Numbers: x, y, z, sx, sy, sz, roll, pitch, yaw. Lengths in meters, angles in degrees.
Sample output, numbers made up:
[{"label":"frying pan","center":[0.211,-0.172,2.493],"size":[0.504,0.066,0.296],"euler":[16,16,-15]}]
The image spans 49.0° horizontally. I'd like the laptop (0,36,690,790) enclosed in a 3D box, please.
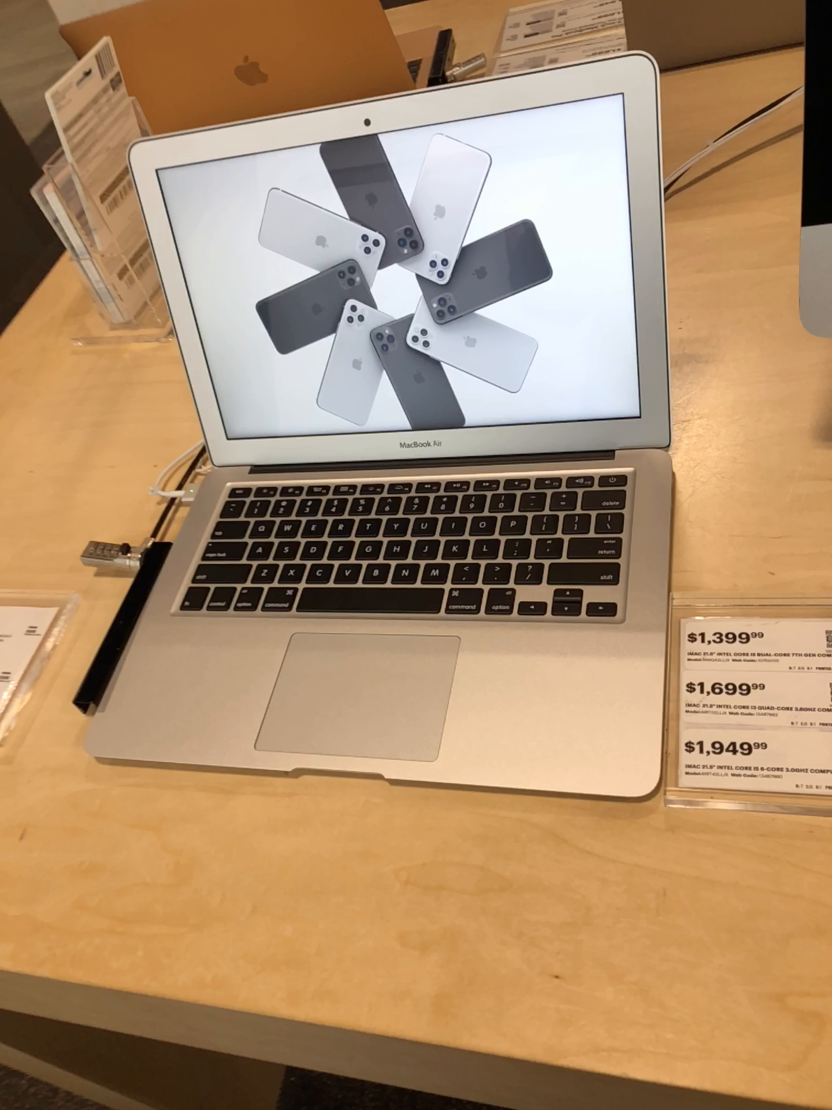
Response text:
[{"label":"laptop","center":[-0.031,-0.074,0.499],"size":[0.324,0.202,0.310],"euler":[-1,50,22]}]
